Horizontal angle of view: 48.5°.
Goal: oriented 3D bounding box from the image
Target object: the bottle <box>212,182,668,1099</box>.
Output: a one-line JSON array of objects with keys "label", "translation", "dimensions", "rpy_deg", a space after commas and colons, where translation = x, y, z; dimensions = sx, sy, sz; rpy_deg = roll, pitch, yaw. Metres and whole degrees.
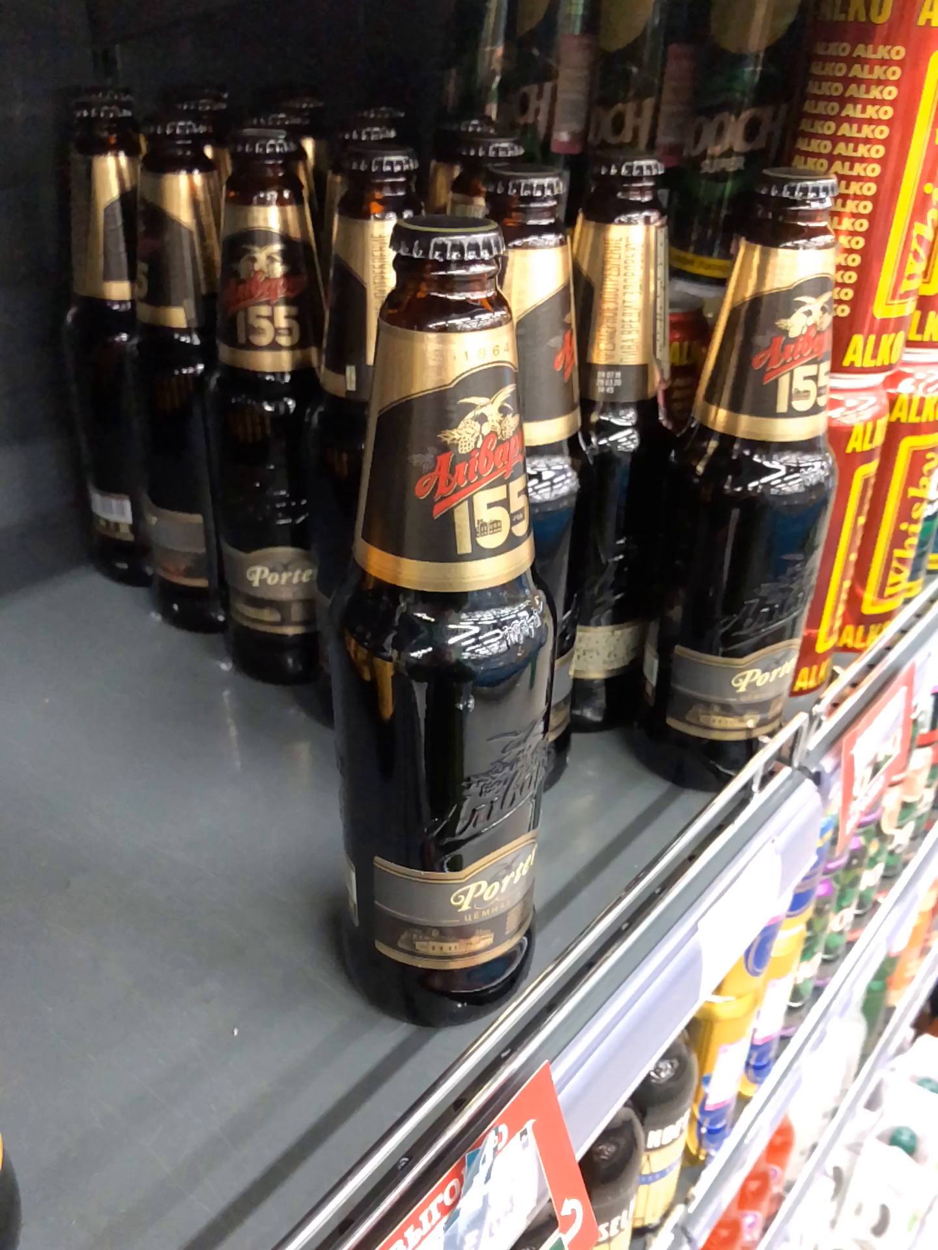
[{"label": "bottle", "translation": [-0.013, 0.012, 0.323], "dimensions": [0.080, 0.263, 0.080], "rpy_deg": [2, 30, -1]}]
